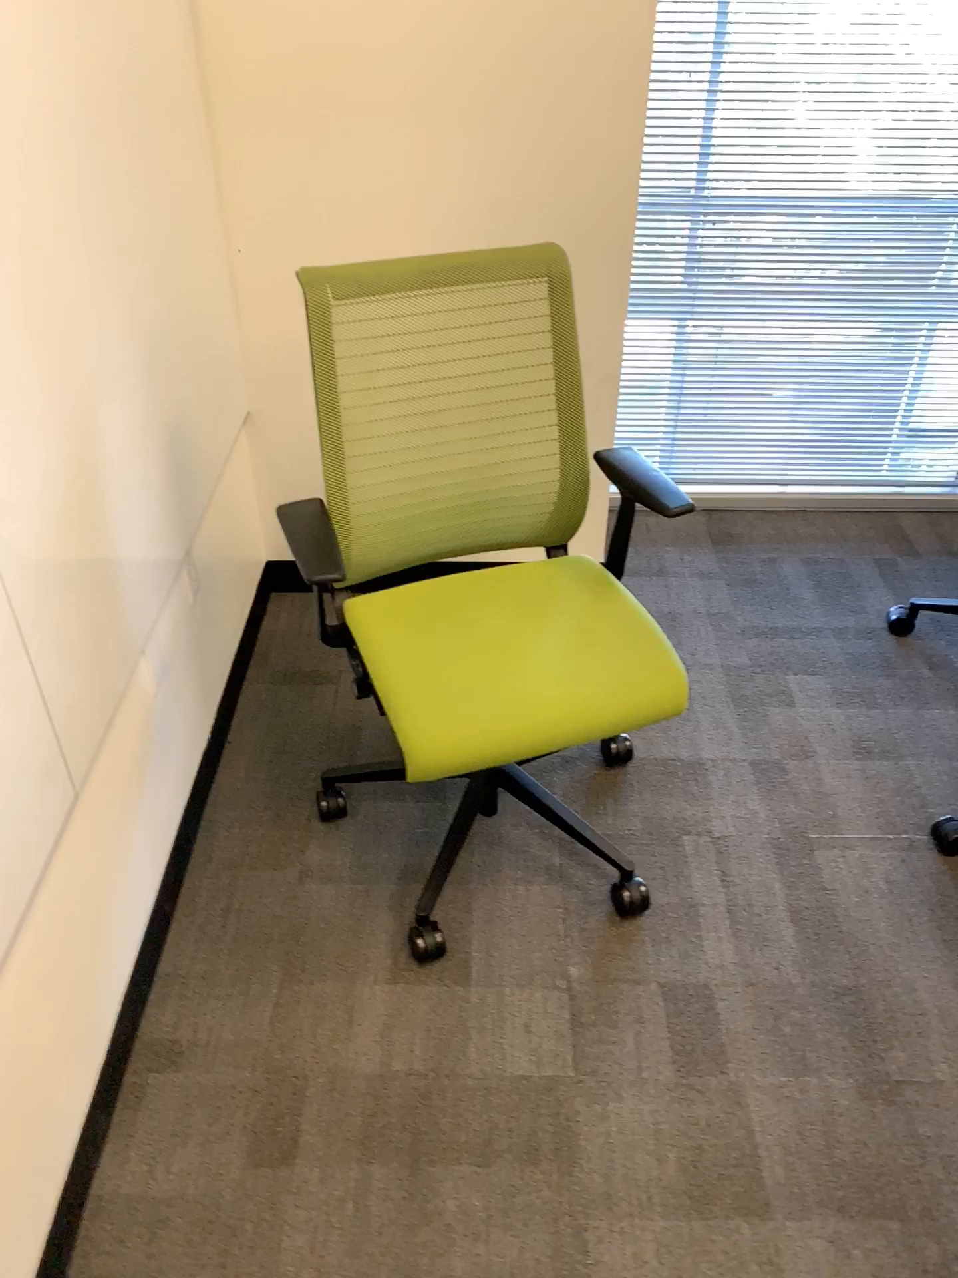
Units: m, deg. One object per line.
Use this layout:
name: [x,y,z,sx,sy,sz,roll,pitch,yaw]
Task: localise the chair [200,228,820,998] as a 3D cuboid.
chair: [-0.029,-0.086,1.779,0.700,0.994,0.845,-11,39,-14]
